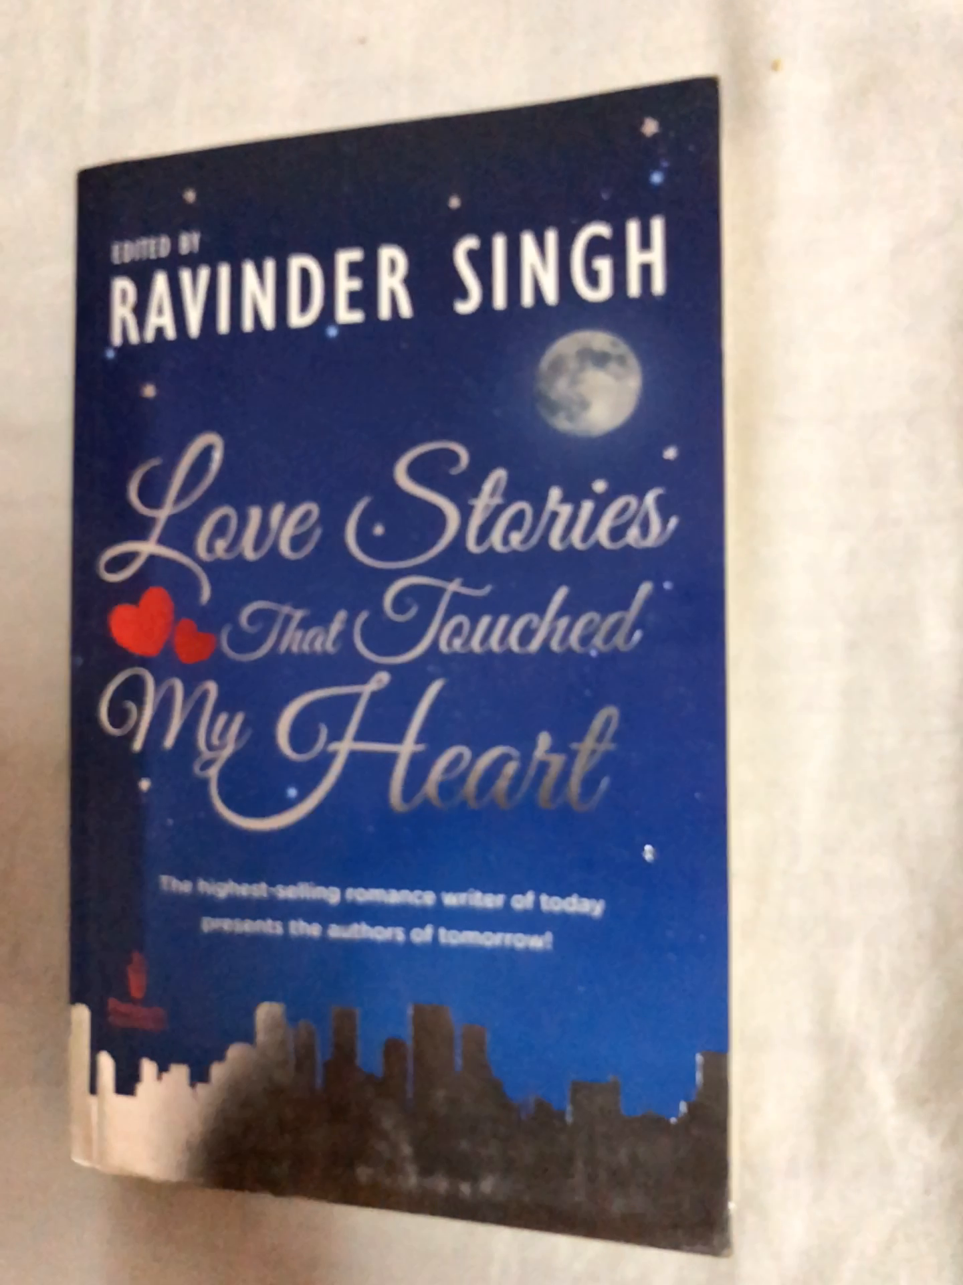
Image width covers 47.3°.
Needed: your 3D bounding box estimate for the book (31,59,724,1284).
[{"bbox_3d":[-0.021,0.008,0.214,0.130,0.030,0.210,0,89,17],"label":"book"}]
